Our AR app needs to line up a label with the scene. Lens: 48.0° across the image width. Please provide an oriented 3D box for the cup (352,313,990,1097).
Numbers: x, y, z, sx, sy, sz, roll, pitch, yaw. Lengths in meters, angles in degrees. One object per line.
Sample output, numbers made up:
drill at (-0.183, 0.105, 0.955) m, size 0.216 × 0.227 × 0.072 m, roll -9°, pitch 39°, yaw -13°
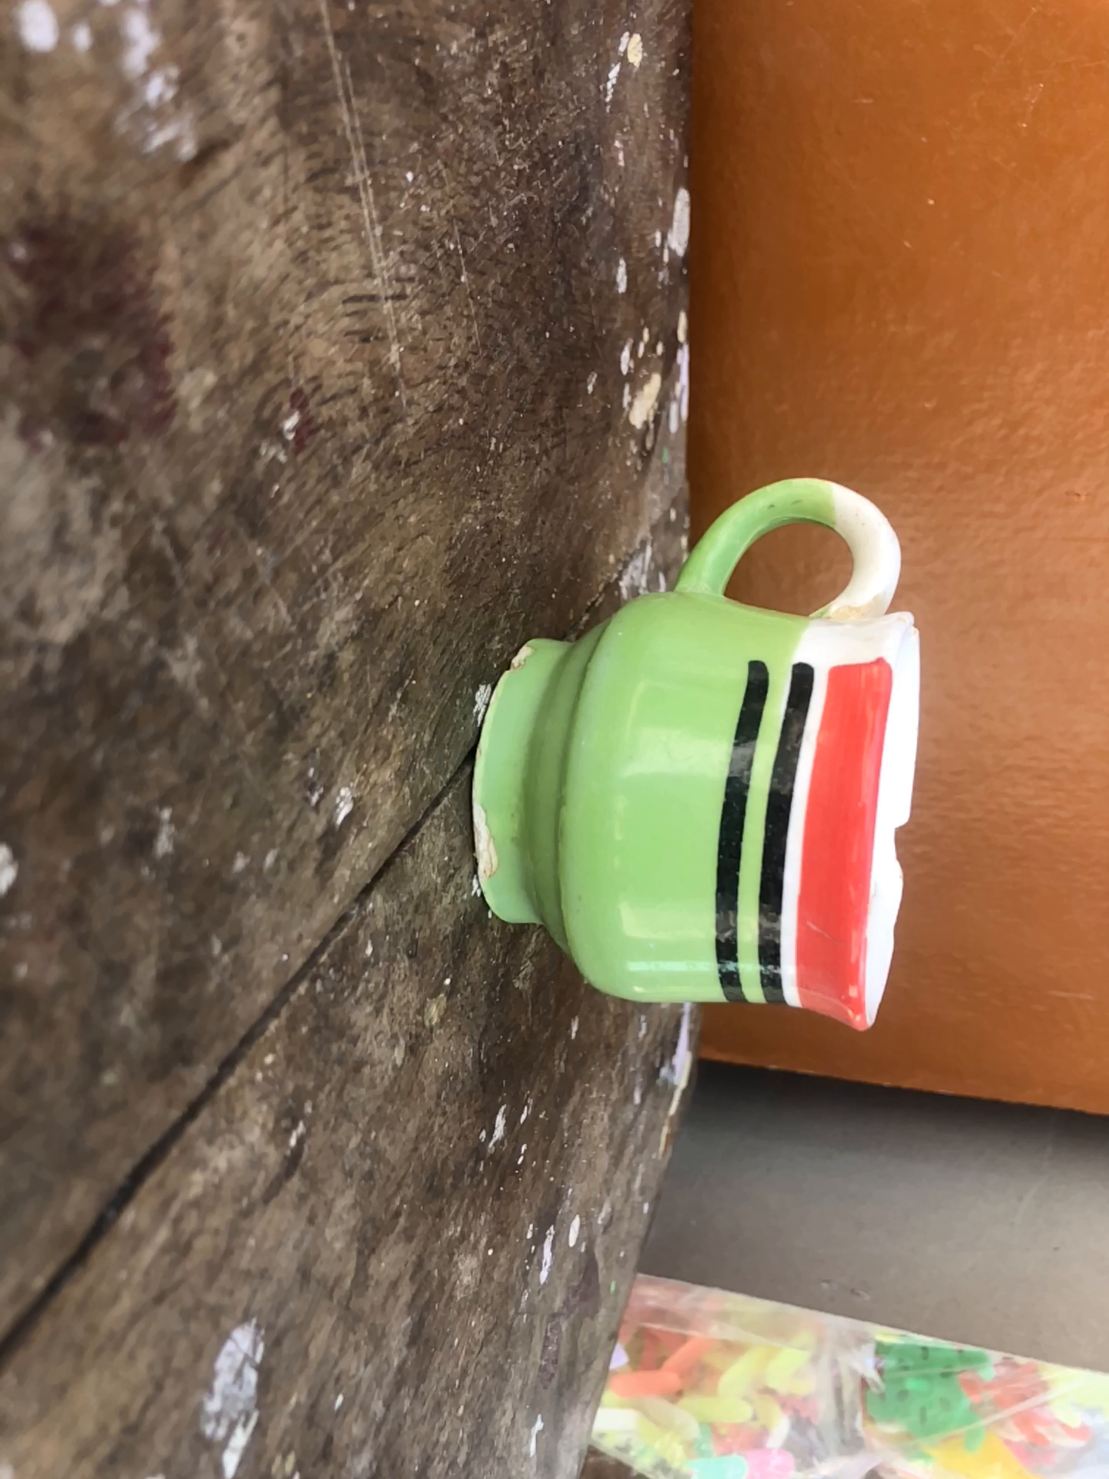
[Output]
cup at (0.027, -0.006, 0.191) m, size 0.070 × 0.070 × 0.090 m, roll 71°, pitch 28°, yaw -50°
